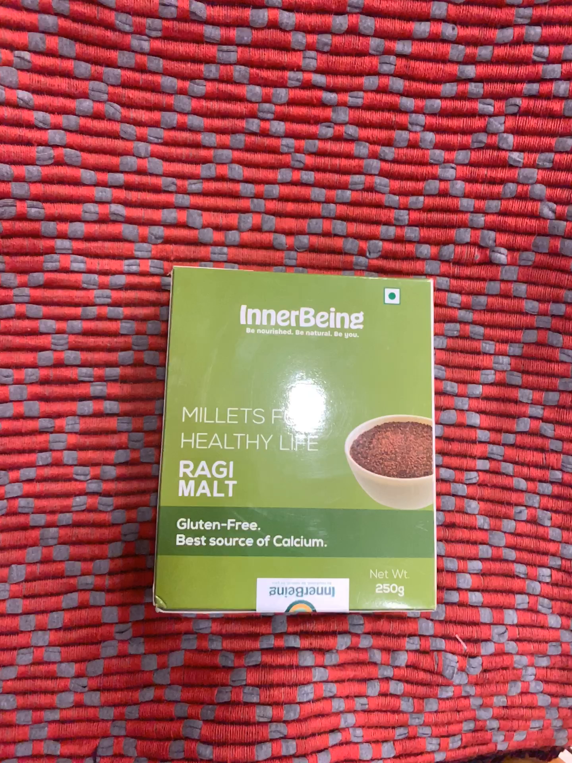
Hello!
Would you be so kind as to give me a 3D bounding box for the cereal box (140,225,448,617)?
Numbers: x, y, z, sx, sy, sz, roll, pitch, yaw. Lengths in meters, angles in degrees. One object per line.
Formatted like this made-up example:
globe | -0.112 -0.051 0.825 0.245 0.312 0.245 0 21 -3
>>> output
cereal box | 0.005 0.019 0.287 0.130 0.050 0.170 2 81 -5
